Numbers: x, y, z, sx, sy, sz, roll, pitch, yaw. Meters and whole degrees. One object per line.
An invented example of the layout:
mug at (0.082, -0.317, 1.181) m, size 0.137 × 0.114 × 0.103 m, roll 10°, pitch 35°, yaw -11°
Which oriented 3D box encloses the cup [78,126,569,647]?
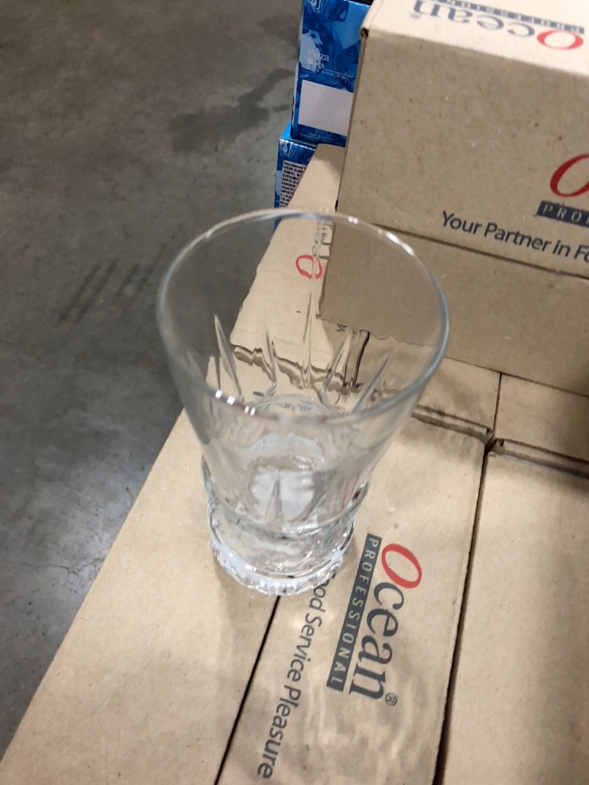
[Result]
cup at (-0.004, 0.002, 0.222) m, size 0.100 × 0.130 × 0.100 m, roll 3°, pitch 53°, yaw -4°
